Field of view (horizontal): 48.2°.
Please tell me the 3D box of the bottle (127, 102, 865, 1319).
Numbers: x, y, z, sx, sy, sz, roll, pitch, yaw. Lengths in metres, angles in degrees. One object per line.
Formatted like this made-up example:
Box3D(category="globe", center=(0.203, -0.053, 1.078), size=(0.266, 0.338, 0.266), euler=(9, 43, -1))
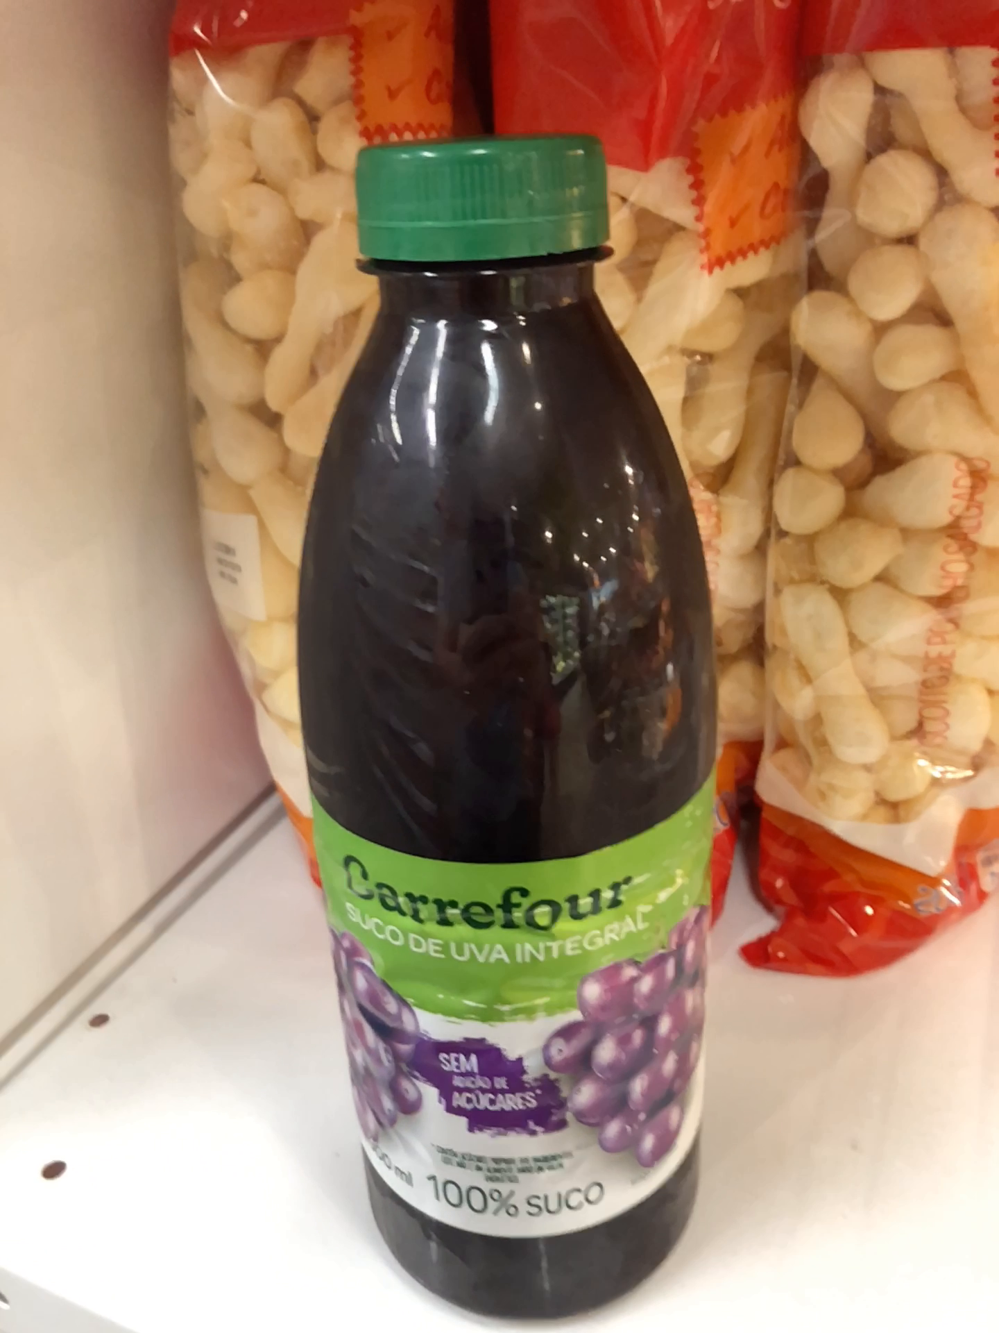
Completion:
Box3D(category="bottle", center=(0.004, 0.017, 0.223), size=(0.090, 0.228, 0.081), euler=(1, 27, 4))
